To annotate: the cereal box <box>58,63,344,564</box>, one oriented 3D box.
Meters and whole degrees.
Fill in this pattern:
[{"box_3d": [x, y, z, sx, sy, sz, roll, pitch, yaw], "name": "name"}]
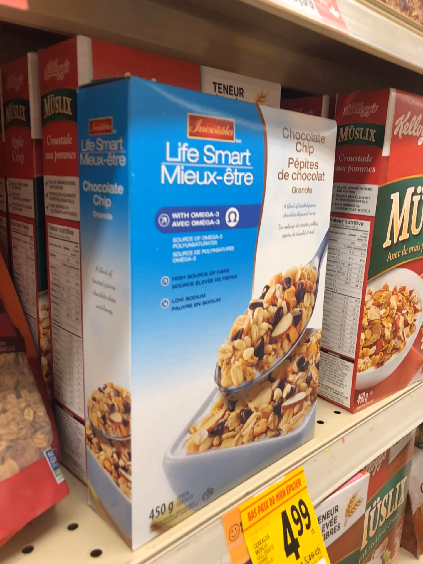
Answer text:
[{"box_3d": [0.004, 0.016, 0.289, 0.180, 0.239, 0.050, -8, 13, -44], "name": "cereal box"}]
